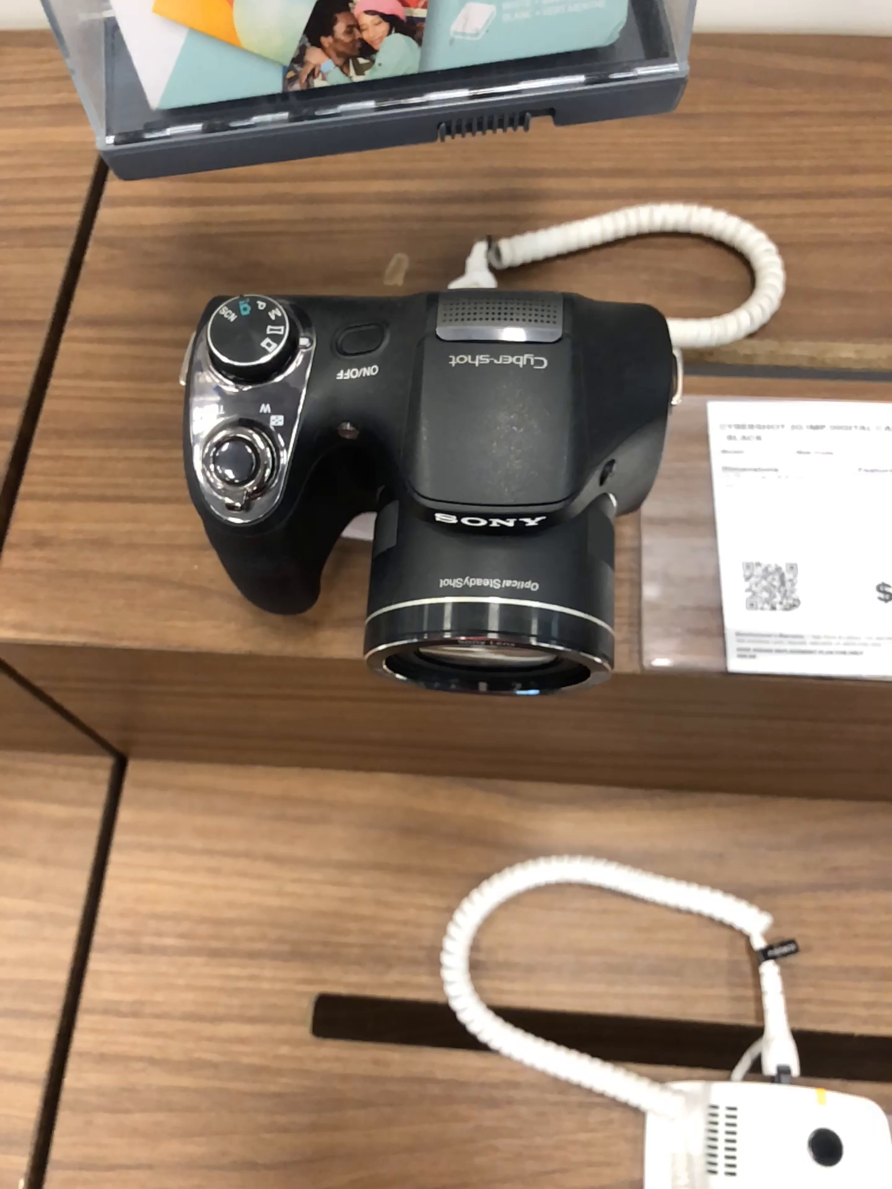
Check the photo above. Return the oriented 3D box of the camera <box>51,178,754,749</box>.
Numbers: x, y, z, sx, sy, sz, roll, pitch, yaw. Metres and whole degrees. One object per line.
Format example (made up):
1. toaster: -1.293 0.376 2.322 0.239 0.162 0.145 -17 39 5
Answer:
1. camera: -0.005 -0.033 0.261 0.140 0.080 0.120 2 64 4
